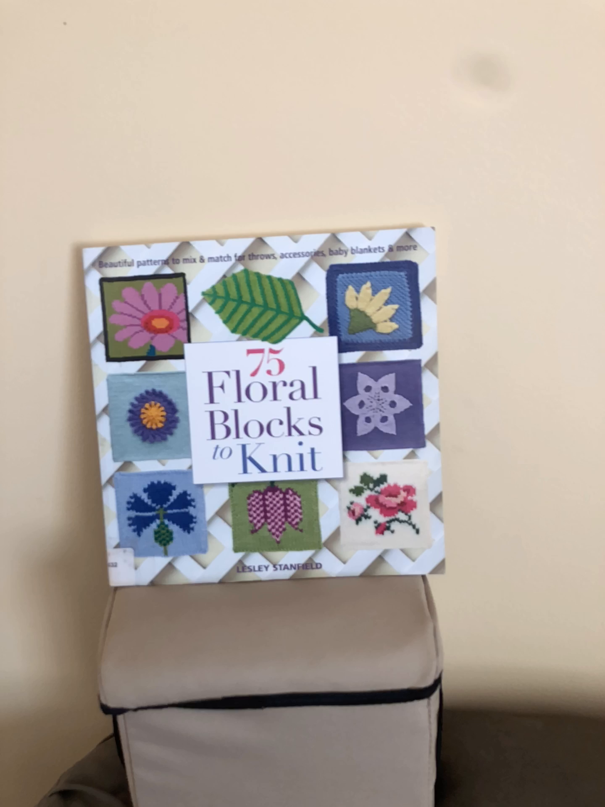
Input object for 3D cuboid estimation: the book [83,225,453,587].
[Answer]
[{"bbox_3d":[-0.019,0.003,0.413,0.218,0.215,0.020,-1,4,0],"label":"book"}]
